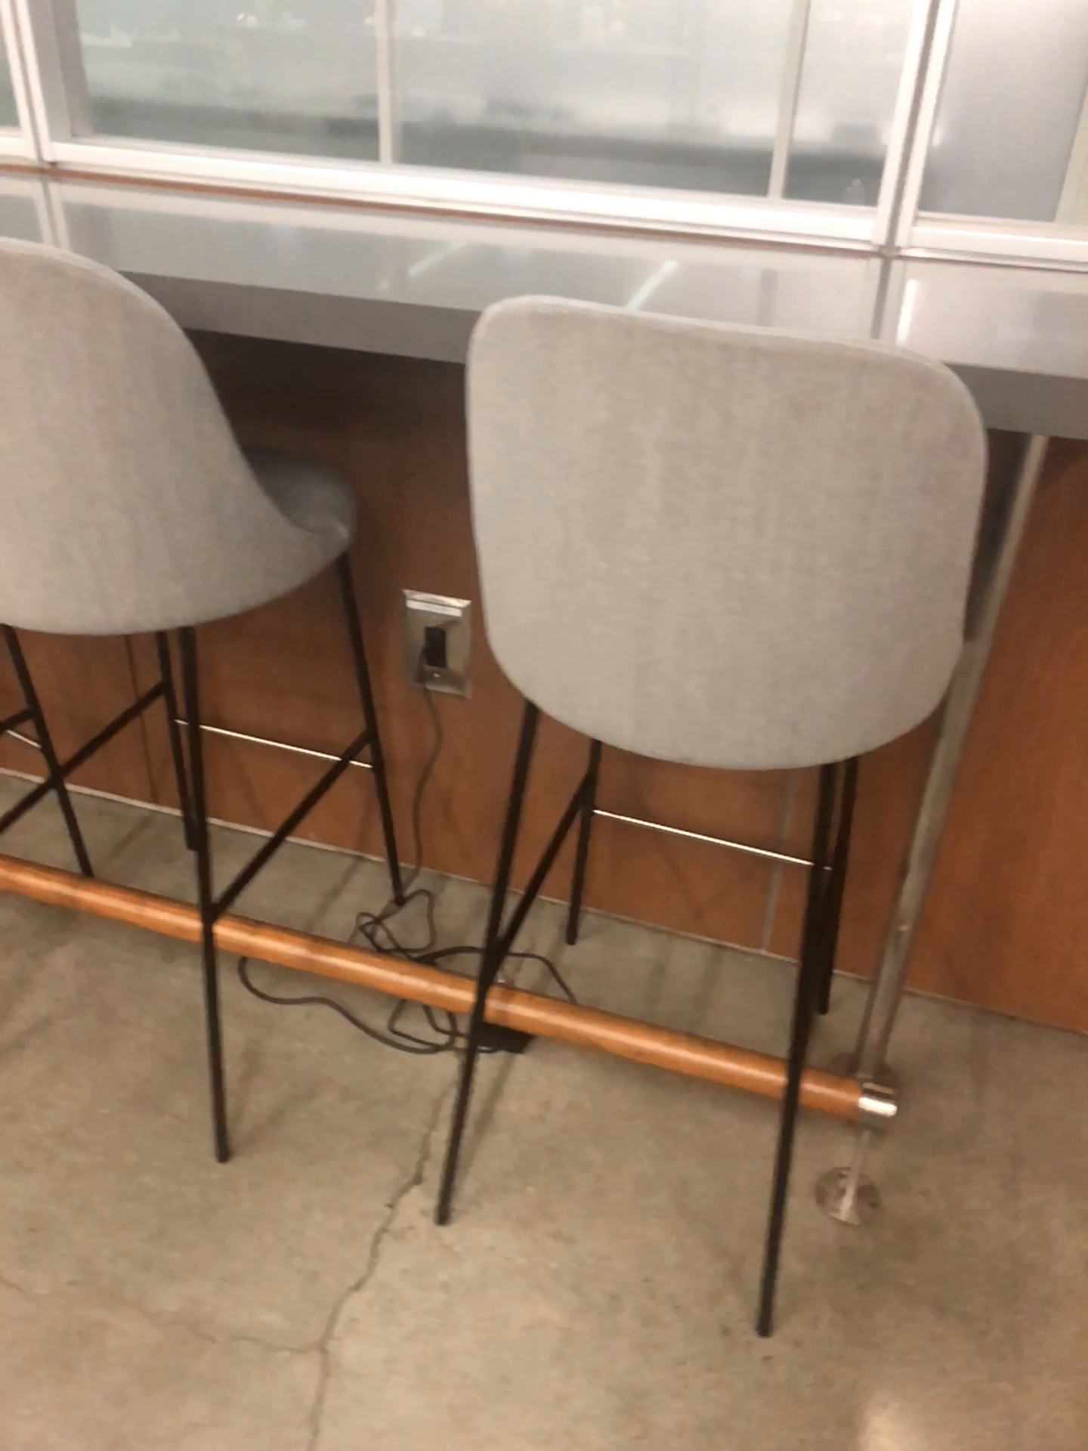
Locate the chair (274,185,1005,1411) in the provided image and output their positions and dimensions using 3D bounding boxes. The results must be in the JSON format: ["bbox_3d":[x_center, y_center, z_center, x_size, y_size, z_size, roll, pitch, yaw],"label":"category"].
[{"bbox_3d":[0.118,0.093,1.360,0.490,1.180,0.595,13,35,16],"label":"chair"}]
